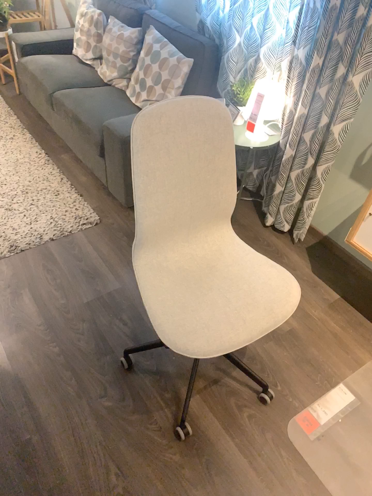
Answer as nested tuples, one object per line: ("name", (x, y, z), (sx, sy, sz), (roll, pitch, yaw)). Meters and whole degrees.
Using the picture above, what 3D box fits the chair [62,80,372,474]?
("chair", (0.075, 0.099, 1.320), (0.631, 1.006, 0.711), (-22, 51, -27))
